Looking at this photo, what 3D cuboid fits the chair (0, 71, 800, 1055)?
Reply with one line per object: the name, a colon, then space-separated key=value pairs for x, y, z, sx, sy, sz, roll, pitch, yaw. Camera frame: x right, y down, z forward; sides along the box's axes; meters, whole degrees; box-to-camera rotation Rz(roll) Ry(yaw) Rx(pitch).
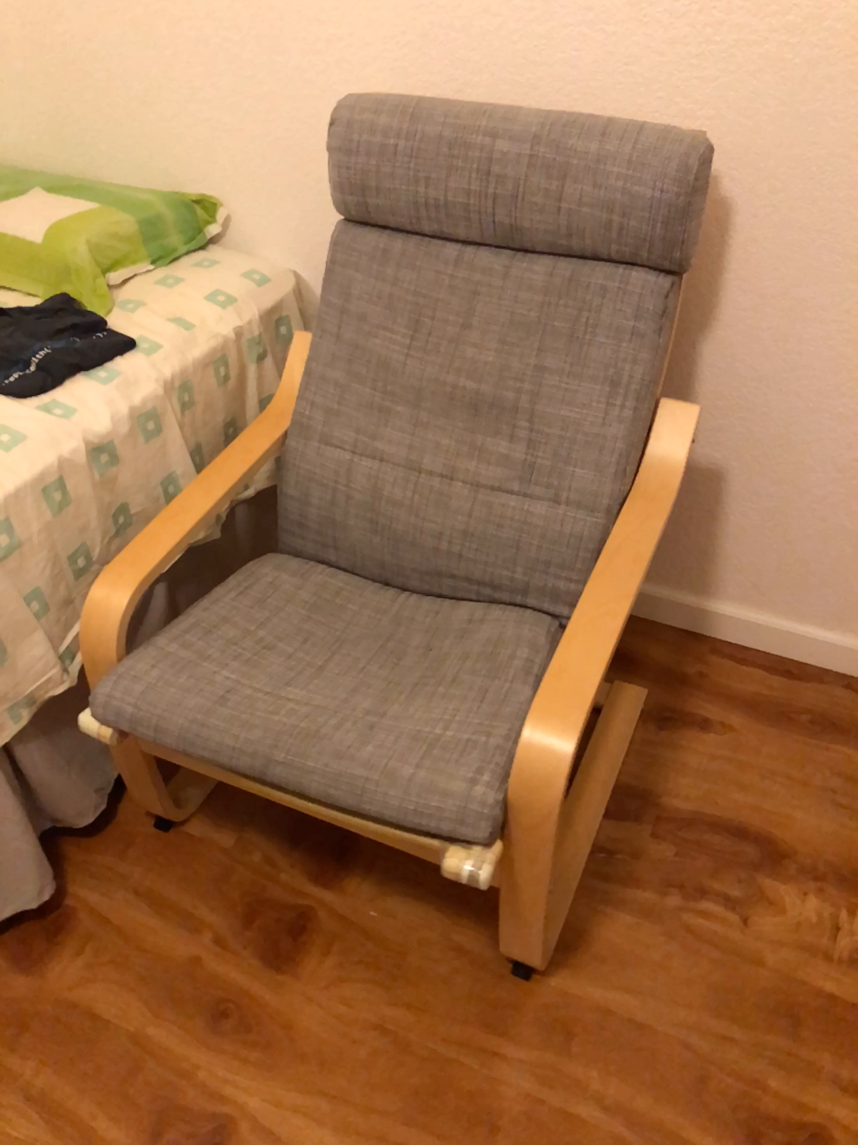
chair: x=-0.018 y=-0.076 z=1.265 sx=0.681 sy=0.885 sz=0.804 roll=16 pitch=42 yaw=20
